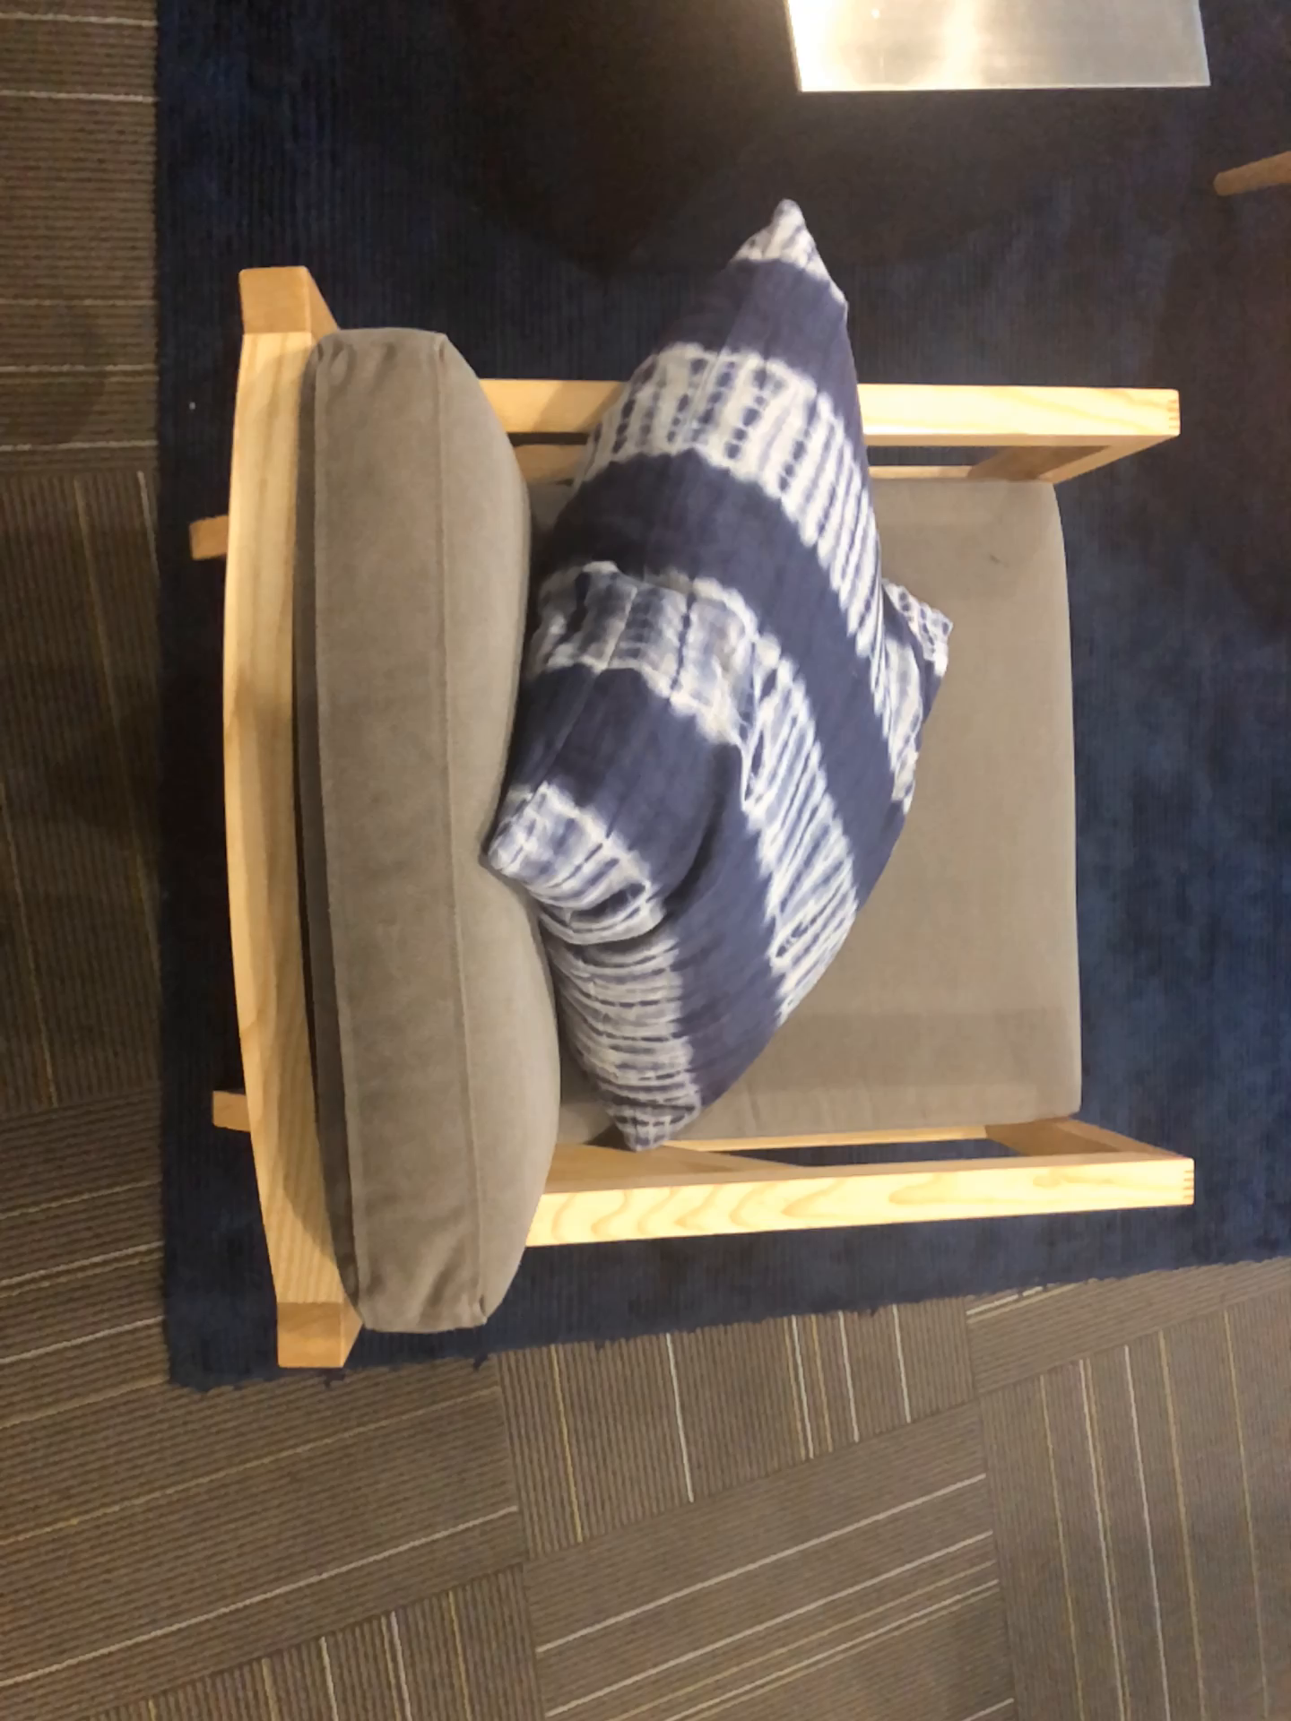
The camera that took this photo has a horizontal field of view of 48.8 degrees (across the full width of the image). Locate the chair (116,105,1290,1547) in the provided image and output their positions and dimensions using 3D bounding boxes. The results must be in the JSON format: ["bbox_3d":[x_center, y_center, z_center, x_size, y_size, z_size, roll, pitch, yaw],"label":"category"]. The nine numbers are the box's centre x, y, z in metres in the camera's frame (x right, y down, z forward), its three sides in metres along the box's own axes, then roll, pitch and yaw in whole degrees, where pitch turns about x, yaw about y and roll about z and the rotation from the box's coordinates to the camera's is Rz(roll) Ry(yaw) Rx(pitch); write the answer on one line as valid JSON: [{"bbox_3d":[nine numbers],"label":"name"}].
[{"bbox_3d":[0.021,-0.024,1.181,0.833,0.777,0.670,0,91,-23],"label":"chair"}]
